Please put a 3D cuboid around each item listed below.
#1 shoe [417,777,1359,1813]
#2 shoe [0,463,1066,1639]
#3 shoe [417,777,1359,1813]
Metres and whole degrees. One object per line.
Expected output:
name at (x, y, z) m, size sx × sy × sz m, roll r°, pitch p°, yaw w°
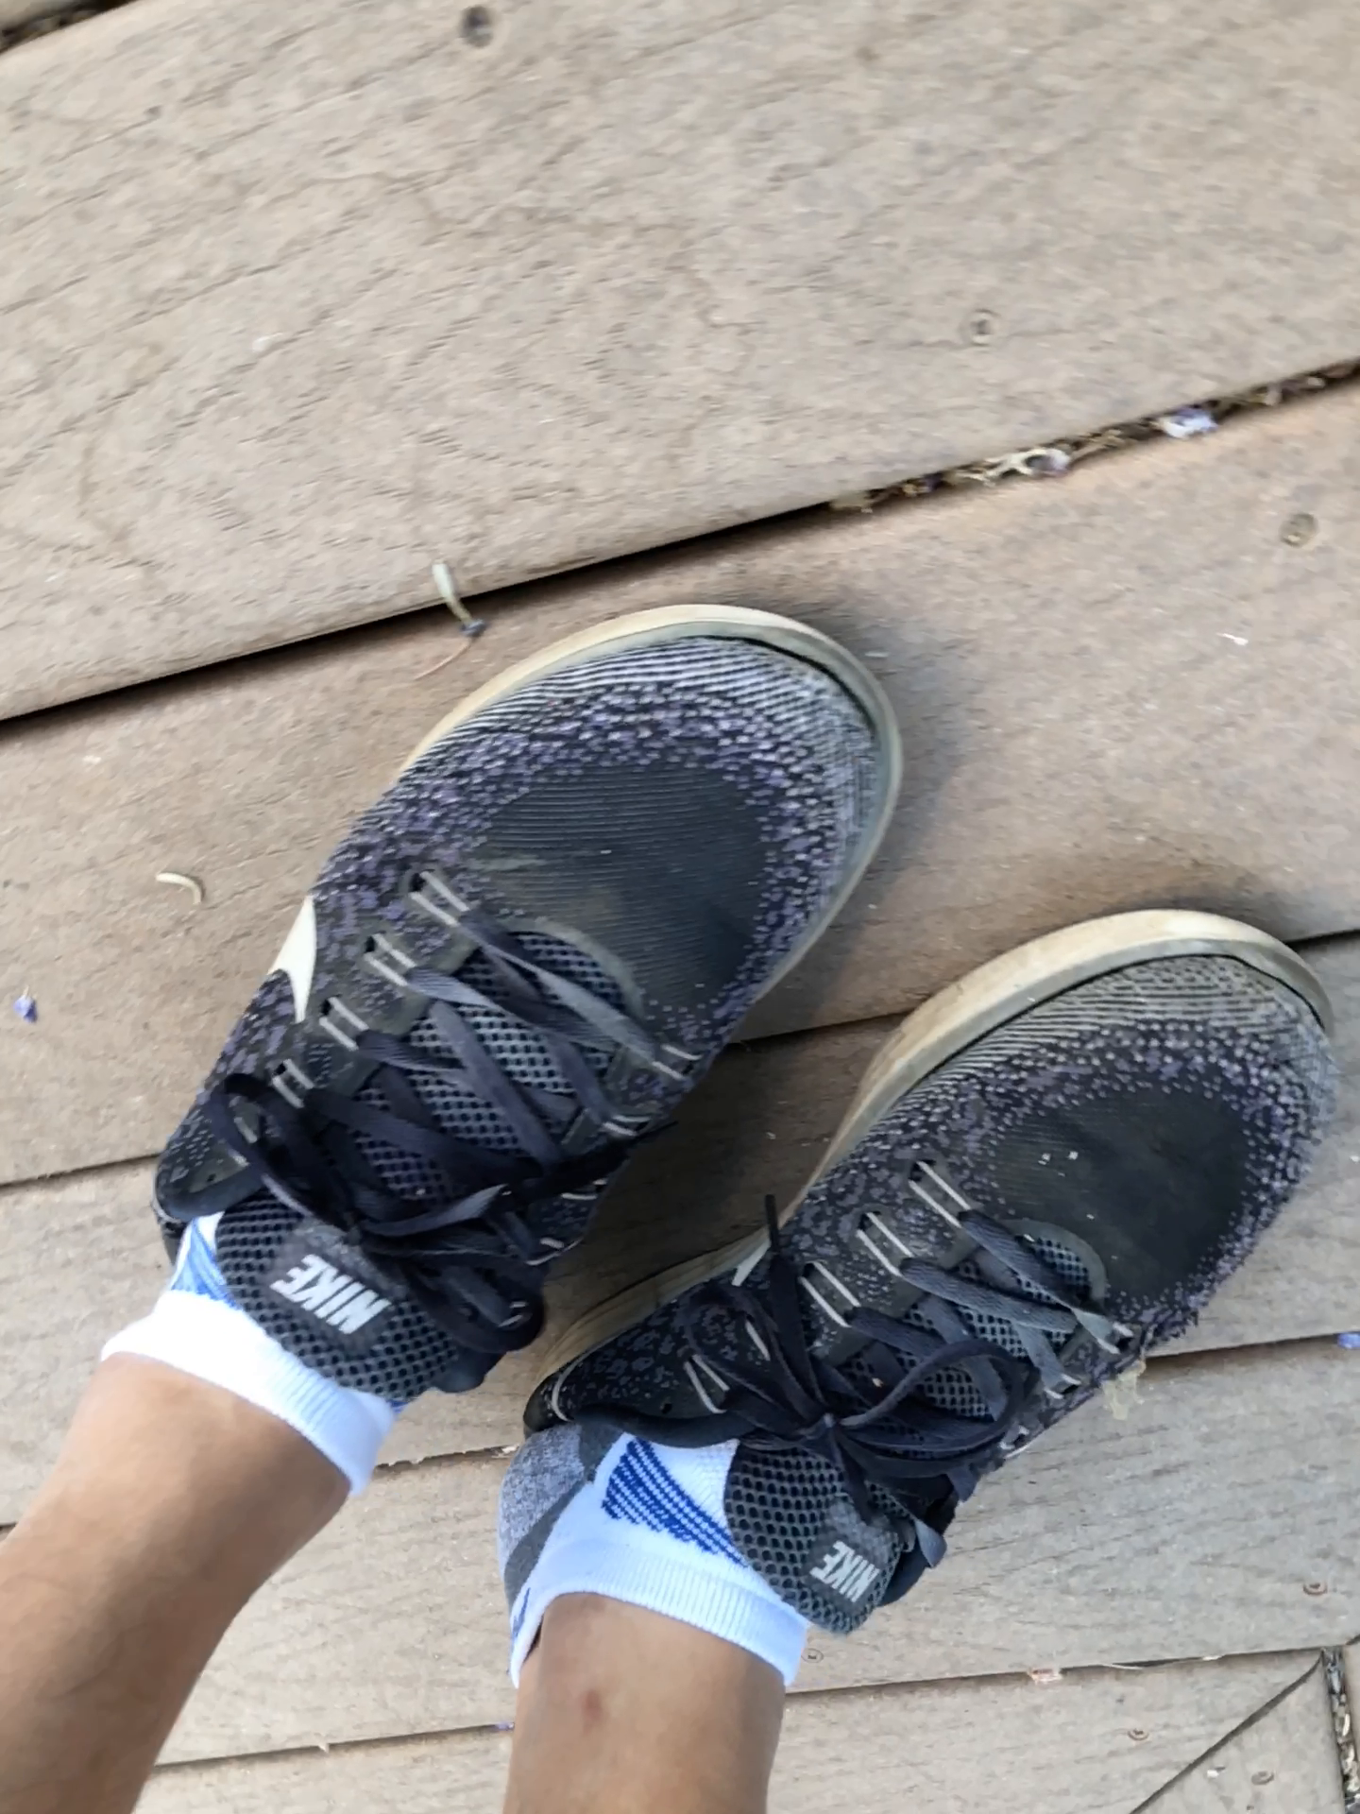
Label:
shoe at (0.065, 0.115, 0.410) m, size 0.120 × 0.100 × 0.271 m, roll 38°, pitch 114°, yaw -14°
shoe at (-0.056, 0.051, 0.395) m, size 0.120 × 0.090 × 0.301 m, roll 35°, pitch 114°, yaw -13°
shoe at (0.065, 0.115, 0.410) m, size 0.120 × 0.100 × 0.271 m, roll 38°, pitch 114°, yaw -14°
